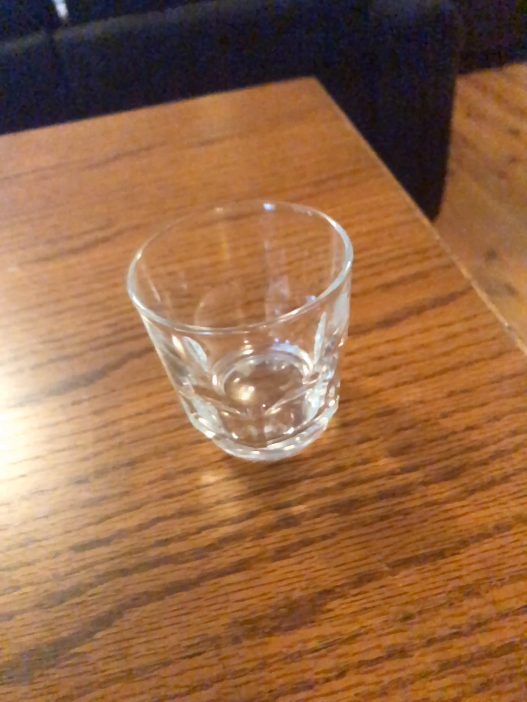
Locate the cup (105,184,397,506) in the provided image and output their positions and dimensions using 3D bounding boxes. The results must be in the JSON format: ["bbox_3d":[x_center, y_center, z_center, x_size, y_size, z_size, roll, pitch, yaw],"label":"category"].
[{"bbox_3d":[-0.006,-0.006,0.233,0.082,0.069,0.083,-6,42,5],"label":"cup"}]
